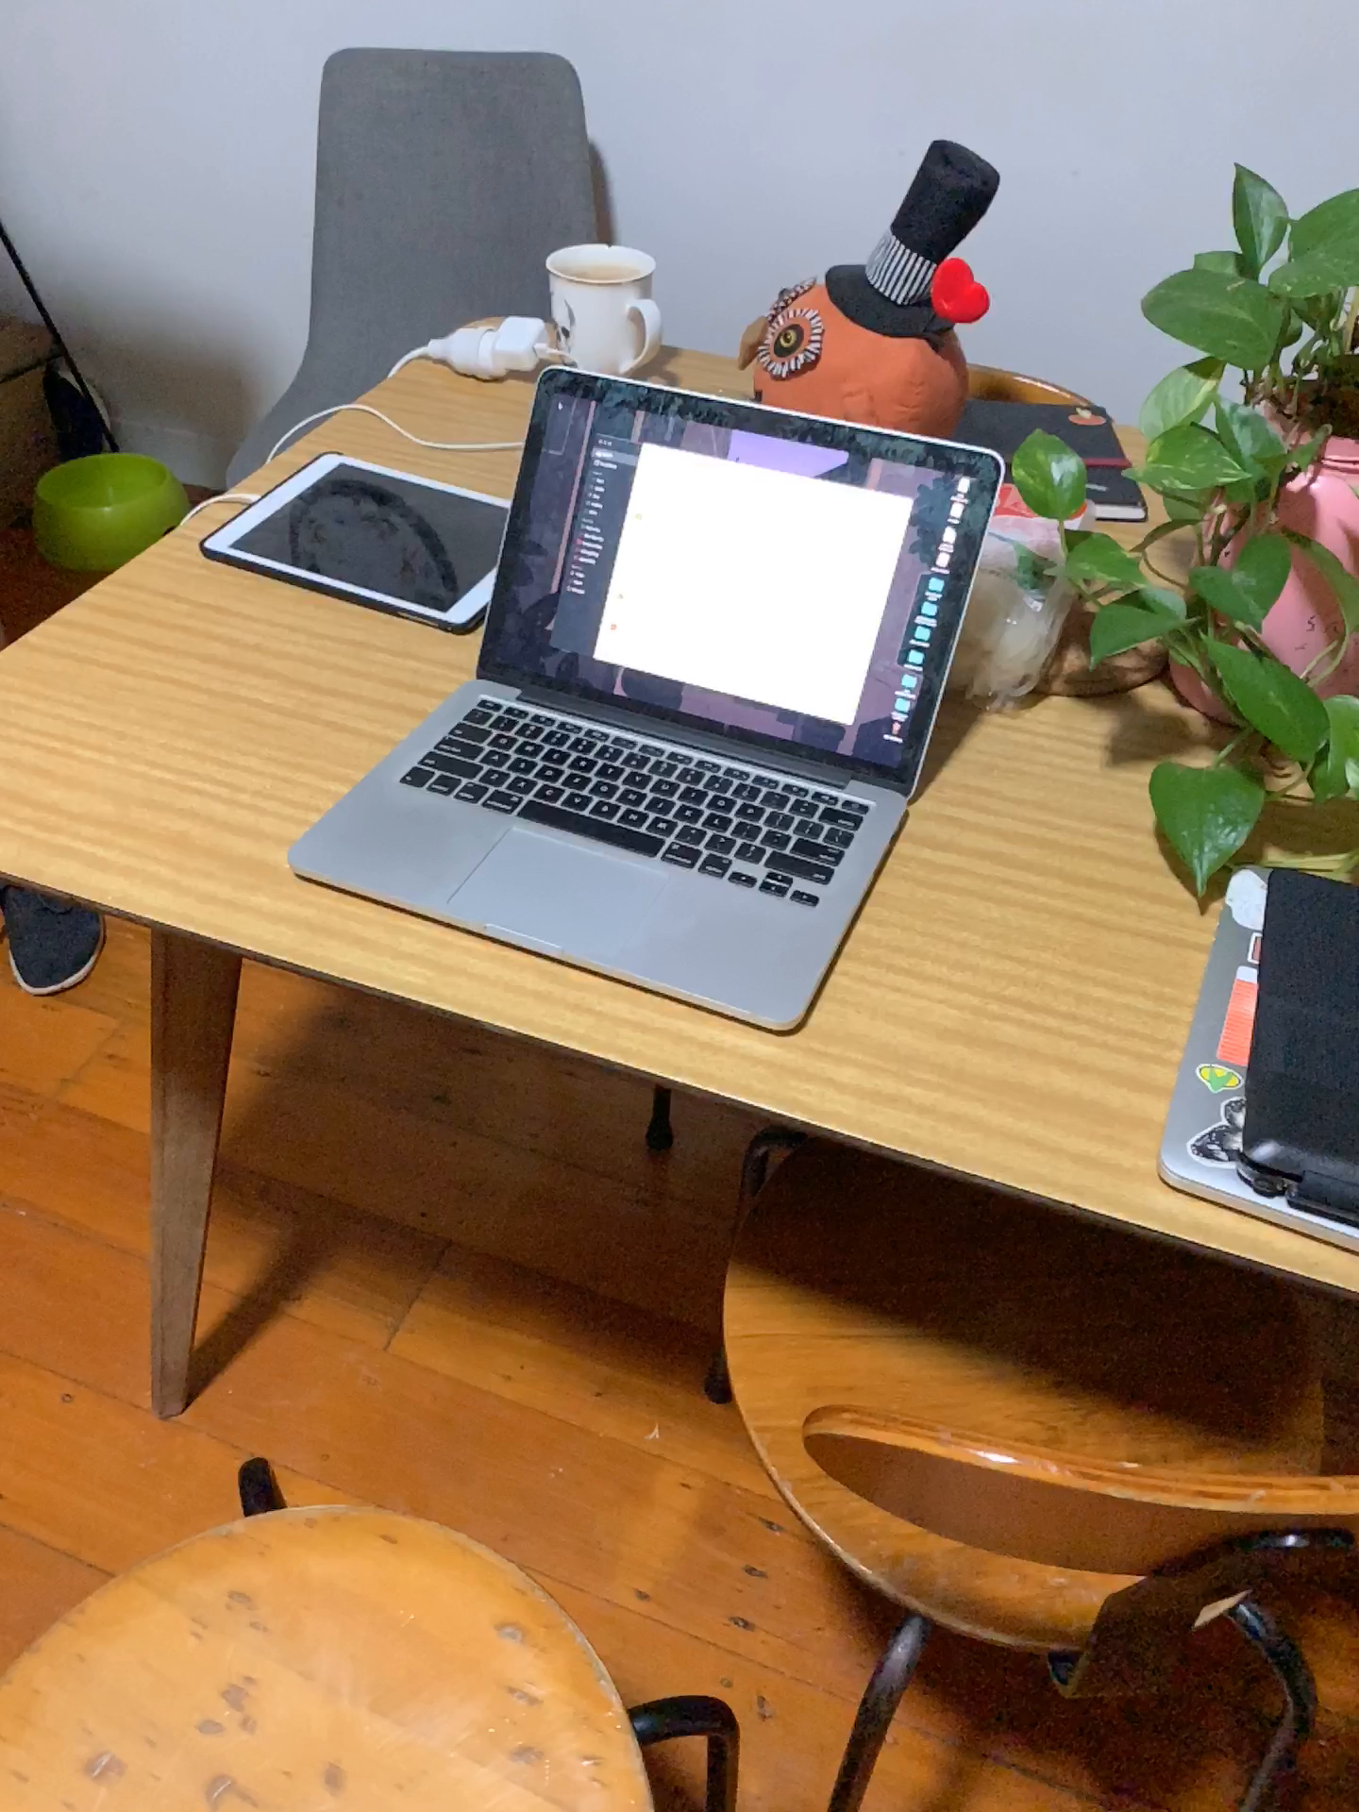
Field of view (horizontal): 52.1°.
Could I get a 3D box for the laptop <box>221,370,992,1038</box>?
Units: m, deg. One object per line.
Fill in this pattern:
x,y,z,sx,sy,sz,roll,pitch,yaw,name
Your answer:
-0.018,-0.123,0.685,0.263,0.144,0.288,17,43,17,laptop
